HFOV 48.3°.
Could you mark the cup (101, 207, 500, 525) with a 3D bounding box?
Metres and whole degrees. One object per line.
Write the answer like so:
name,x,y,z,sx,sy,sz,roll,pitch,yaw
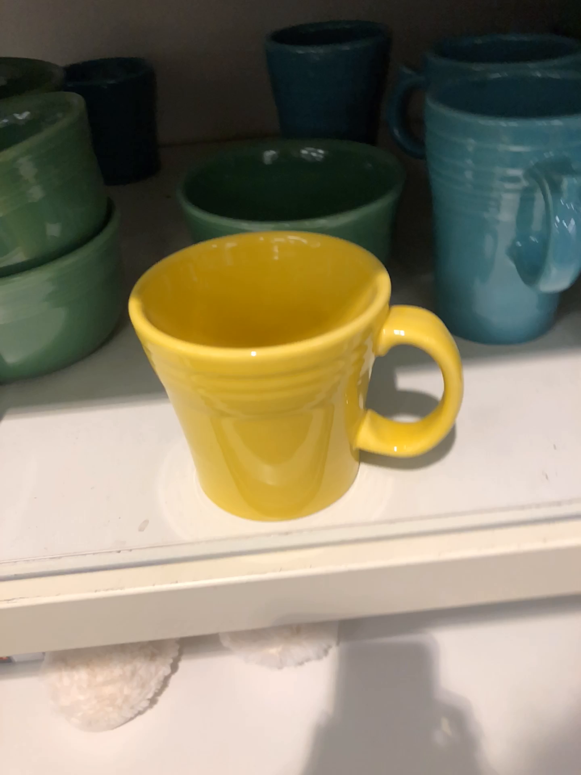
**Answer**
cup,0.007,-0.010,0.292,0.137,0.100,0.097,-2,39,4
